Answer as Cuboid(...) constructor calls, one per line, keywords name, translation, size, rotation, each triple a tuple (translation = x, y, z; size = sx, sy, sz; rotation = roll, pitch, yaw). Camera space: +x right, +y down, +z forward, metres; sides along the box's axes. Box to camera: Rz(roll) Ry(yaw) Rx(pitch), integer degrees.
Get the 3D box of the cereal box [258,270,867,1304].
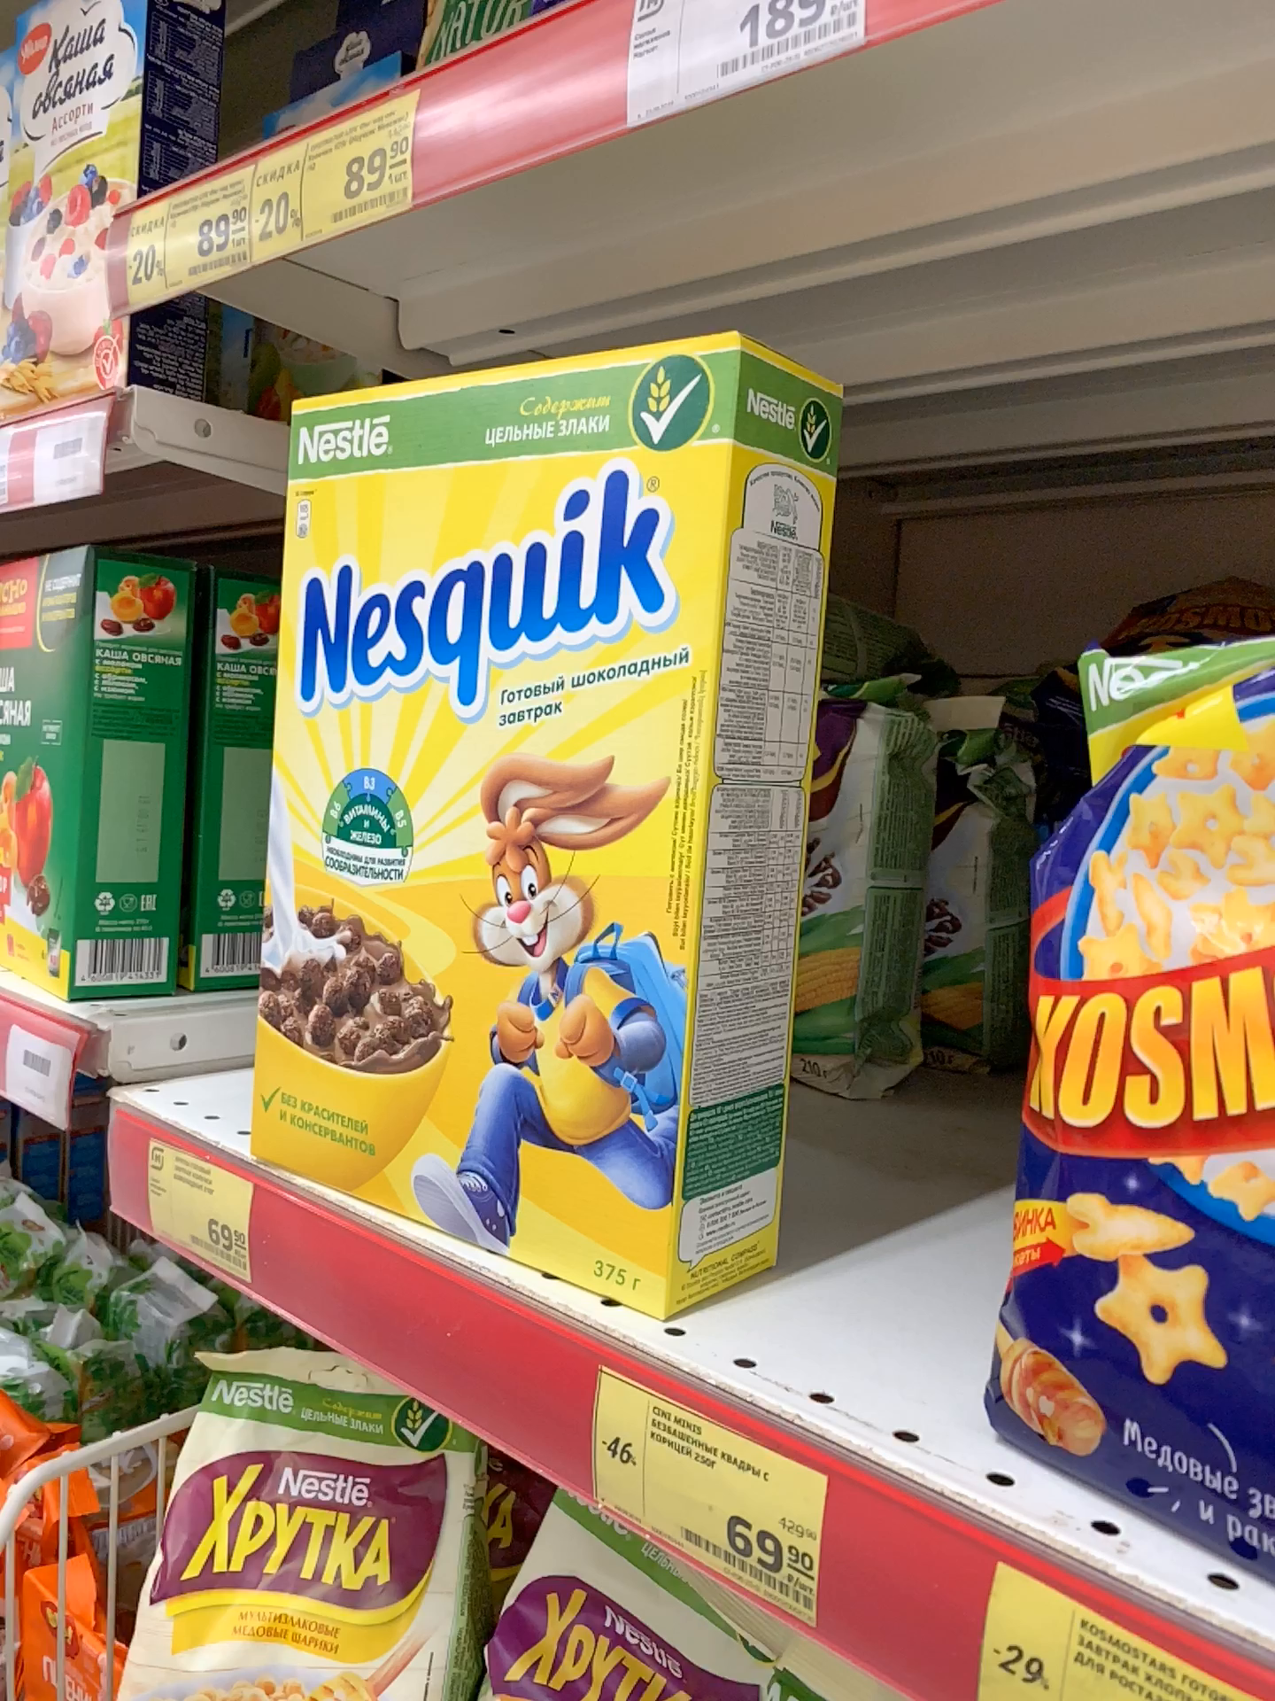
Cuboid(name="cereal box", translation=(-0.034, -0.023, 0.424), size=(0.190, 0.270, 0.060), rotation=(6, 5, 38))
